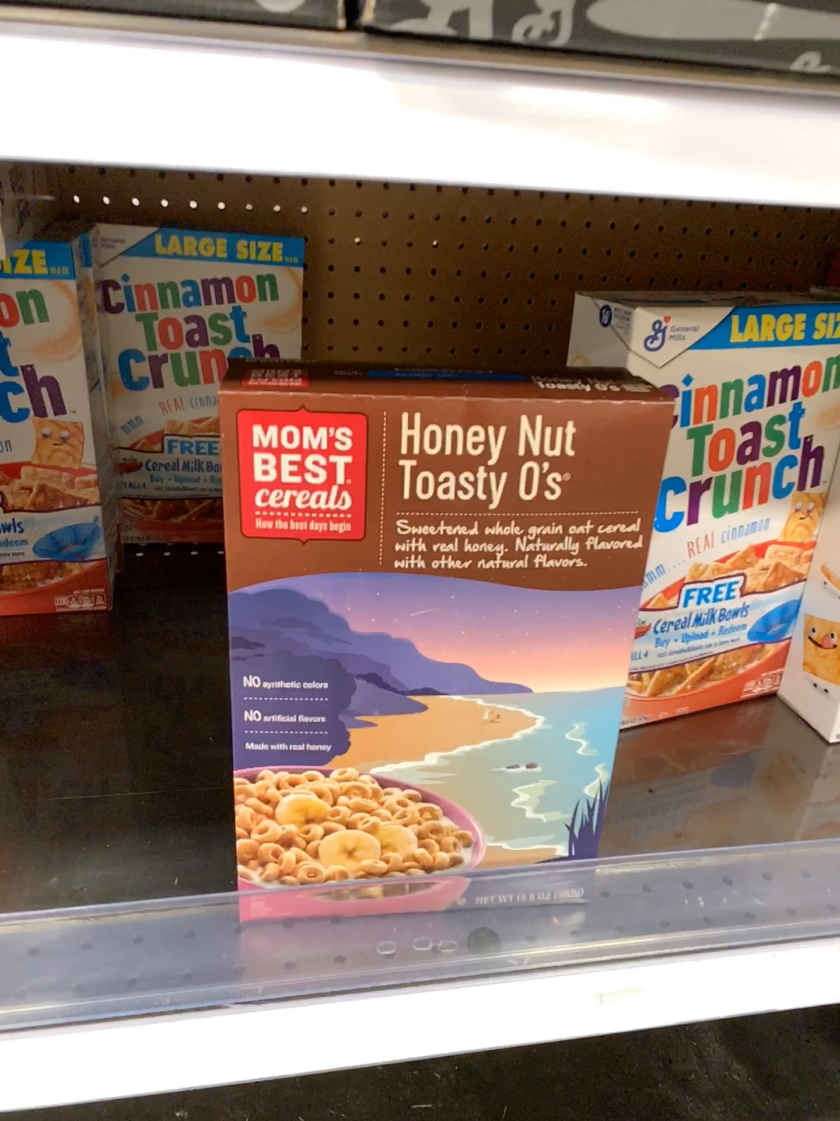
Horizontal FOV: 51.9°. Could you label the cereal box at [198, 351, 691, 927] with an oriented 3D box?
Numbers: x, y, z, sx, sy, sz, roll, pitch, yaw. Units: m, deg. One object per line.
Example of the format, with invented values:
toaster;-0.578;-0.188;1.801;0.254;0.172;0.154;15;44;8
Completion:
cereal box;0.002;0.045;0.434;0.200;0.279;0.070;-1;24;-8
